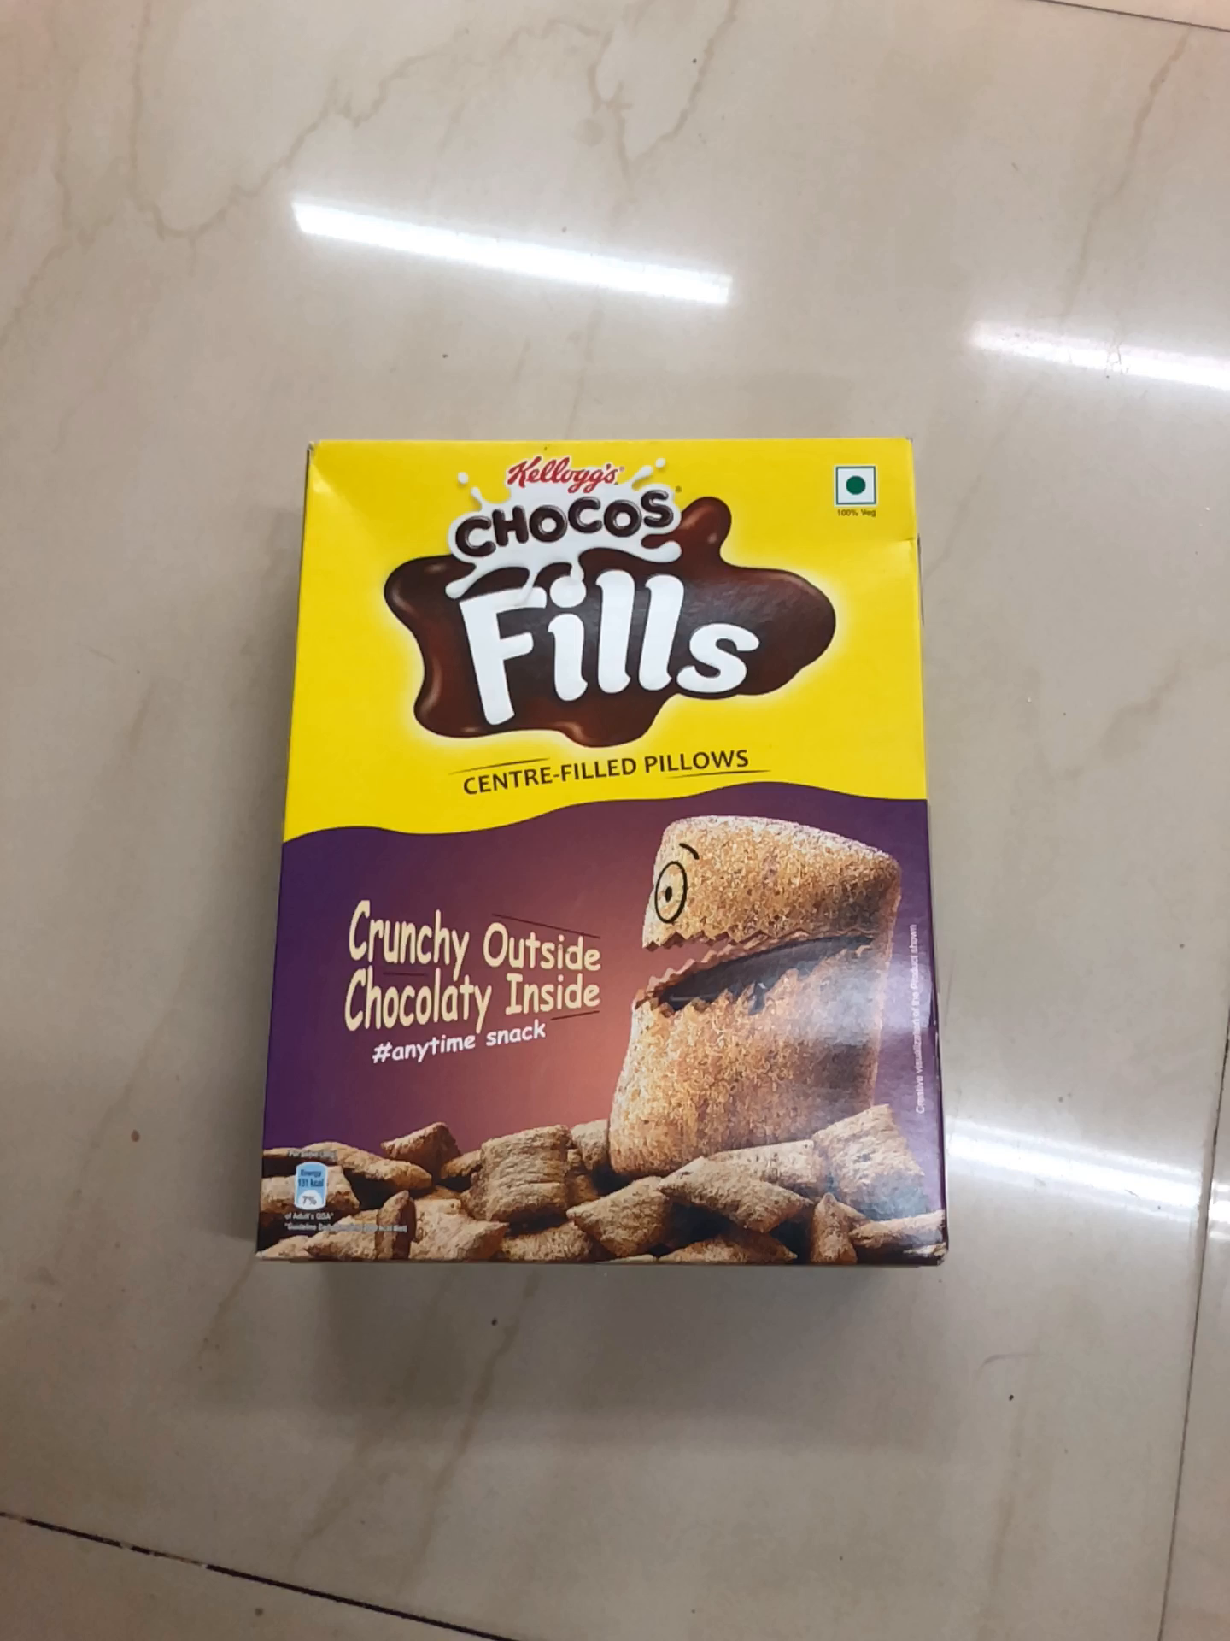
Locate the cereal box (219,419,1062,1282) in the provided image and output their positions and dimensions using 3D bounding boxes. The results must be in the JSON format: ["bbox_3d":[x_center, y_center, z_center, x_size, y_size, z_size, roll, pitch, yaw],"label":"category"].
[{"bbox_3d":[0.006,0.008,0.387,0.200,0.070,0.230,0,74,1],"label":"cereal box"}]
